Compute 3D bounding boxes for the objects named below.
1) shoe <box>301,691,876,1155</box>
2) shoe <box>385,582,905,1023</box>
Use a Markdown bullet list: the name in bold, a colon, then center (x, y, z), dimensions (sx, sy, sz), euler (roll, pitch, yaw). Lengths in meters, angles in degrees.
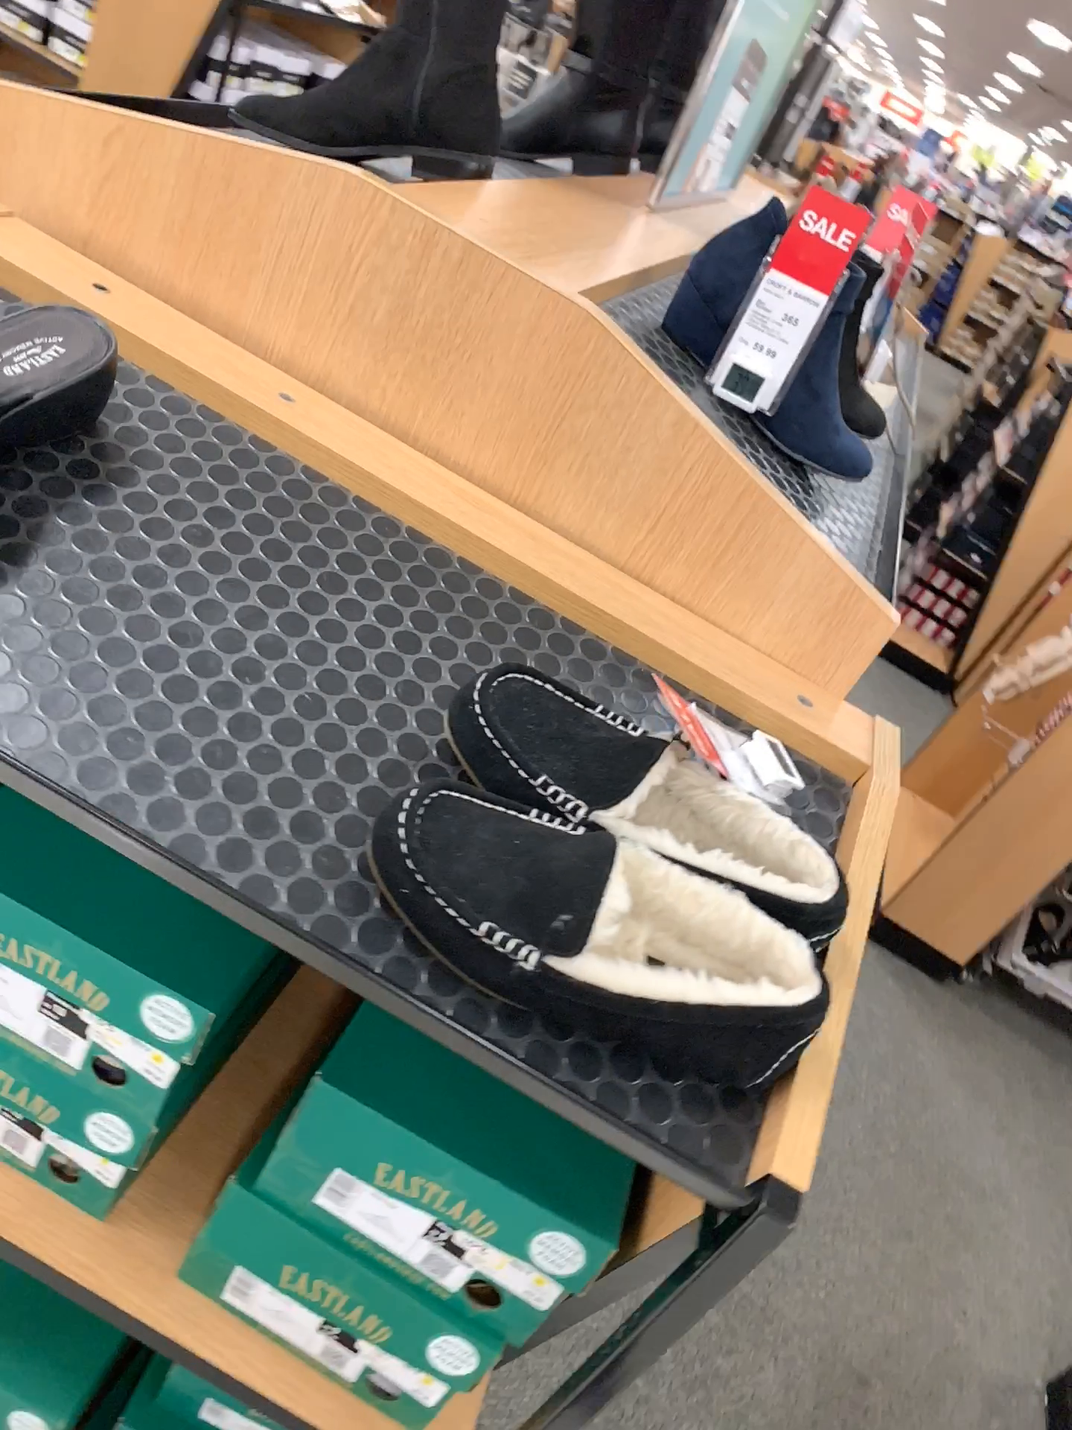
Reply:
- **shoe**: center (0.024, 0.103, 0.534), dimensions (0.250, 0.089, 0.087), euler (29, 52, -1)
- **shoe**: center (0.055, 0.047, 0.590), dimensions (0.250, 0.089, 0.087), euler (32, 52, 4)
